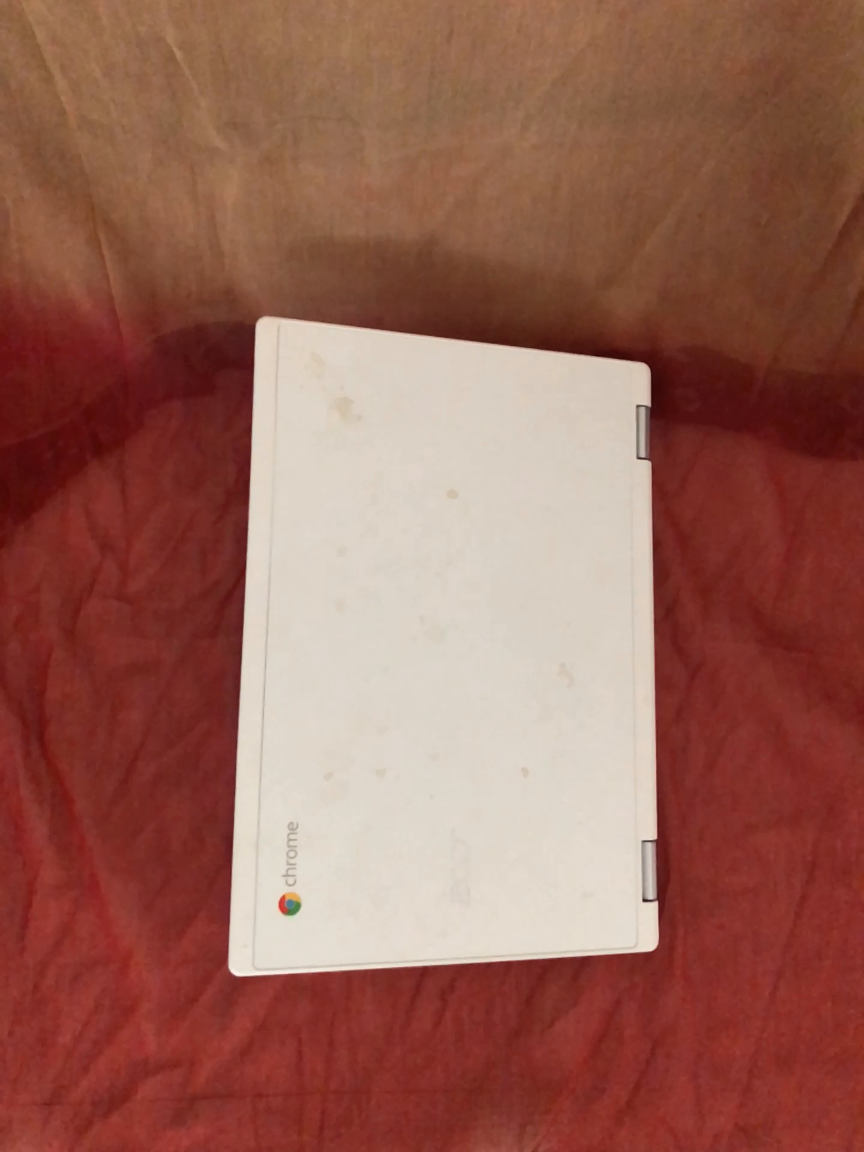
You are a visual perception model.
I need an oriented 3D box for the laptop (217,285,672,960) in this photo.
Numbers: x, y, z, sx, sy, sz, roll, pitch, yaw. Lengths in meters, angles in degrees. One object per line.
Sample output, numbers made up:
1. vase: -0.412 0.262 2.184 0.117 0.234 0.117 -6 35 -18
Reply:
1. laptop: 0.010 0.018 0.447 0.189 0.056 0.288 3 81 -2
